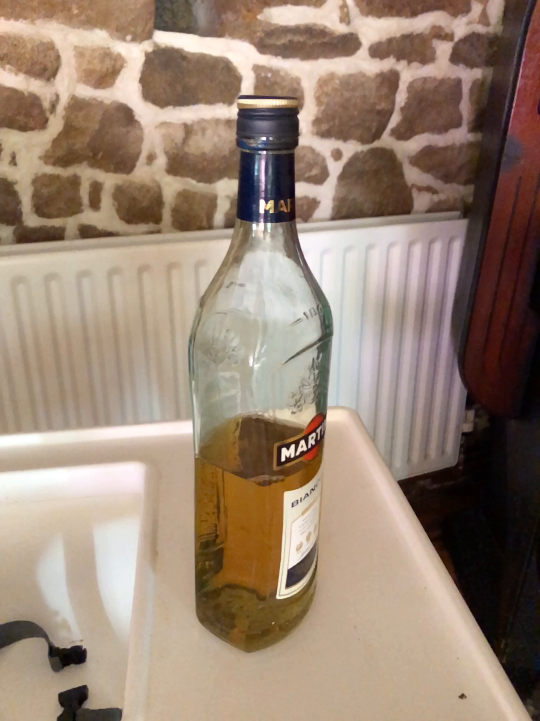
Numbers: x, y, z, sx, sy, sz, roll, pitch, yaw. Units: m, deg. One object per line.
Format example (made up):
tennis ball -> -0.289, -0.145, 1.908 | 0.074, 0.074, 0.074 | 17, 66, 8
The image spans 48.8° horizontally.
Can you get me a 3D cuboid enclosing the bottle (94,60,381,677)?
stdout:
bottle -> -0.008, 0.009, 0.339 | 0.080, 0.318, 0.111 | 16, 30, 31
